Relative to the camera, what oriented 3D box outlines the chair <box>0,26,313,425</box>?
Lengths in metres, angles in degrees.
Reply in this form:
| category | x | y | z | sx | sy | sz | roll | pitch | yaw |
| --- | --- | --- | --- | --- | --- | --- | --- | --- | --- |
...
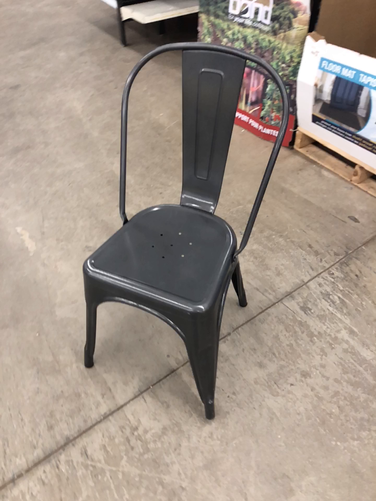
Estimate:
| category | x | y | z | sx | sy | sz | roll | pitch | yaw |
| --- | --- | --- | --- | --- | --- | --- | --- | --- | --- |
| chair | -0.049 | -0.037 | 1.077 | 0.480 | 0.817 | 0.501 | 17 | 48 | 16 |
